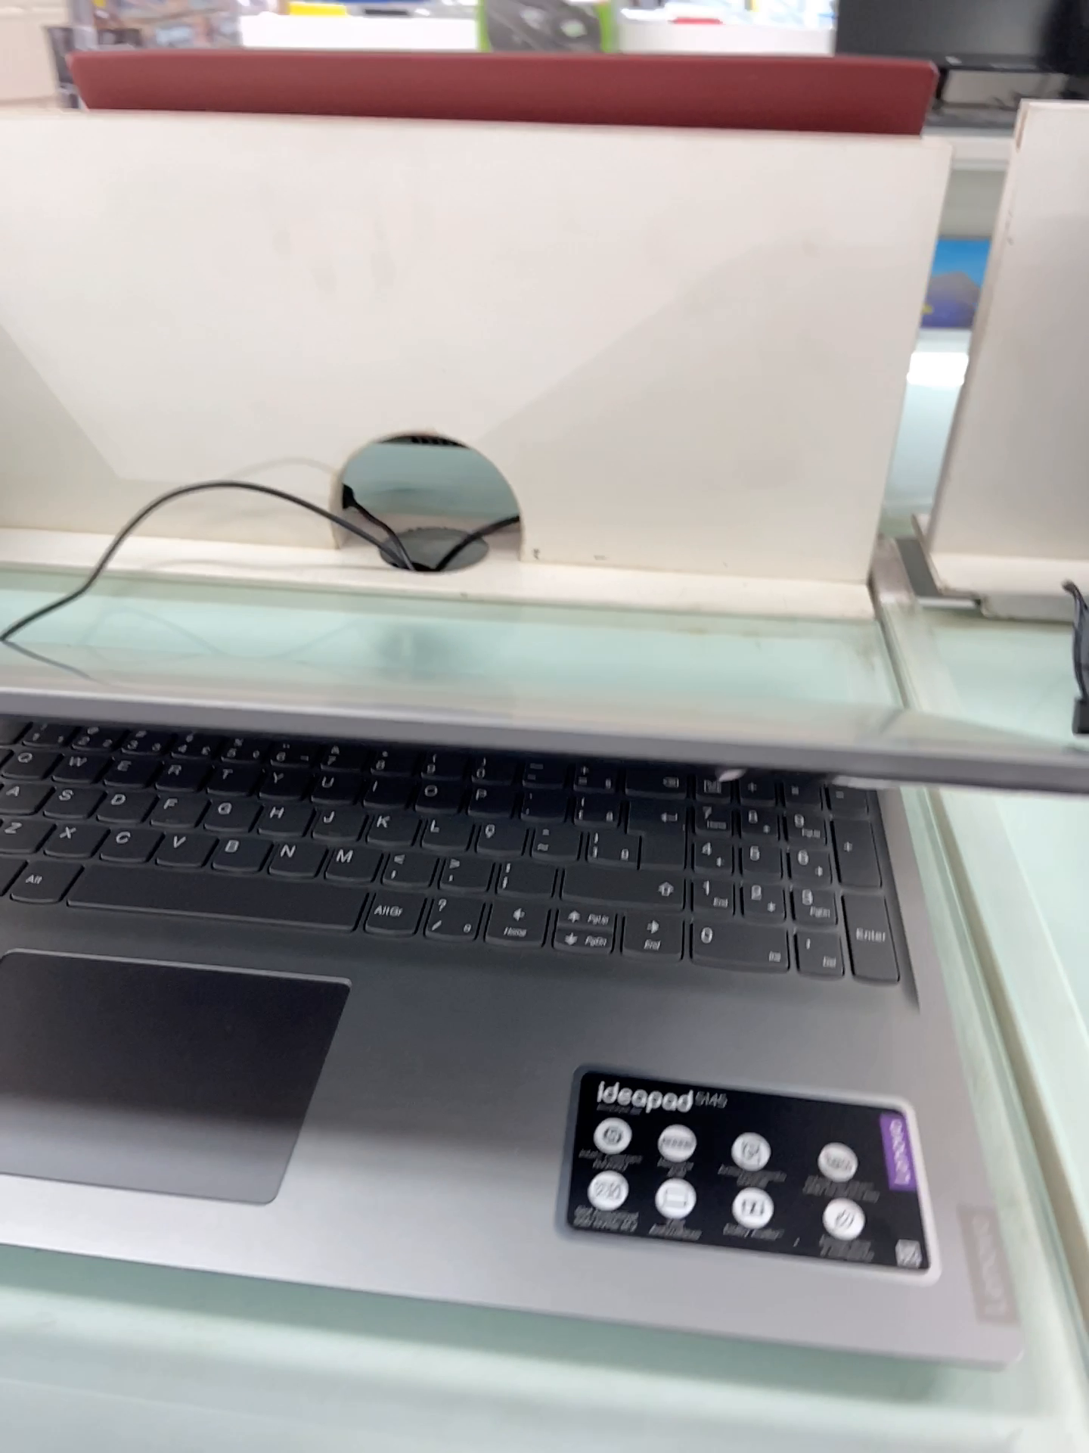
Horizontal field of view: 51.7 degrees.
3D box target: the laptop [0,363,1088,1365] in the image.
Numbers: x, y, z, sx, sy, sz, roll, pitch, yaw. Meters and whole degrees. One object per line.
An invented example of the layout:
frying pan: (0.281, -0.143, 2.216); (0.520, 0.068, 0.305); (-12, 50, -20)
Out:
laptop: (-0.064, 0.002, 0.327); (0.363, 0.127, 0.251); (4, 34, 5)
